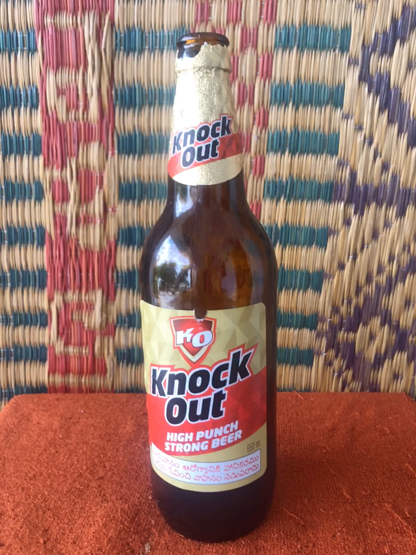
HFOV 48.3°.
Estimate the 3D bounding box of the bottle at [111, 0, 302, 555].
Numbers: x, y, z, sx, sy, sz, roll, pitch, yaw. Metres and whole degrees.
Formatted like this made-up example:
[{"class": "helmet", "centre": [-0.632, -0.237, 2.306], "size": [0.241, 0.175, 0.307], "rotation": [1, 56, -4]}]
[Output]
[{"class": "bottle", "centre": [0.002, 0.010, 0.237], "size": [0.070, 0.249, 0.070], "rotation": [0, 16, 0]}]
